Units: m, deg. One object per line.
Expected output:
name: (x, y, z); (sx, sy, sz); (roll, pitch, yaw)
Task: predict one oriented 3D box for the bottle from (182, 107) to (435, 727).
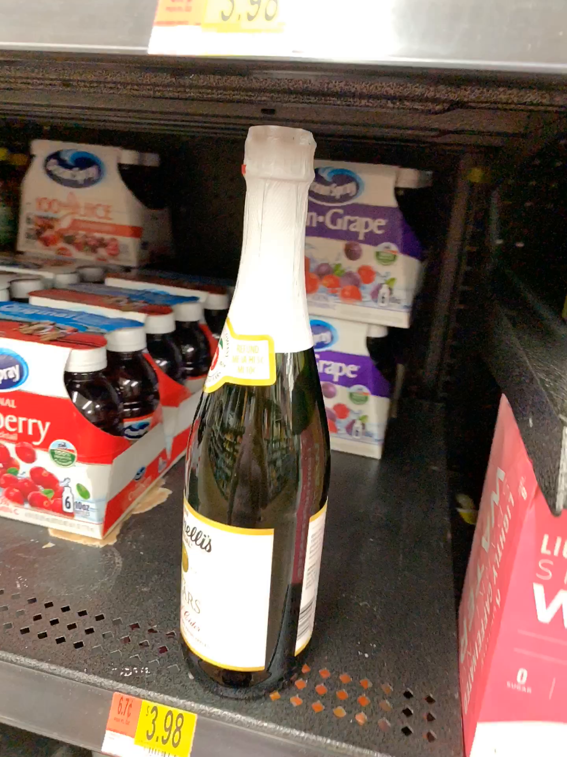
bottle: (-0.005, 0.028, 0.308); (0.090, 0.299, 0.090); (4, 20, -1)
